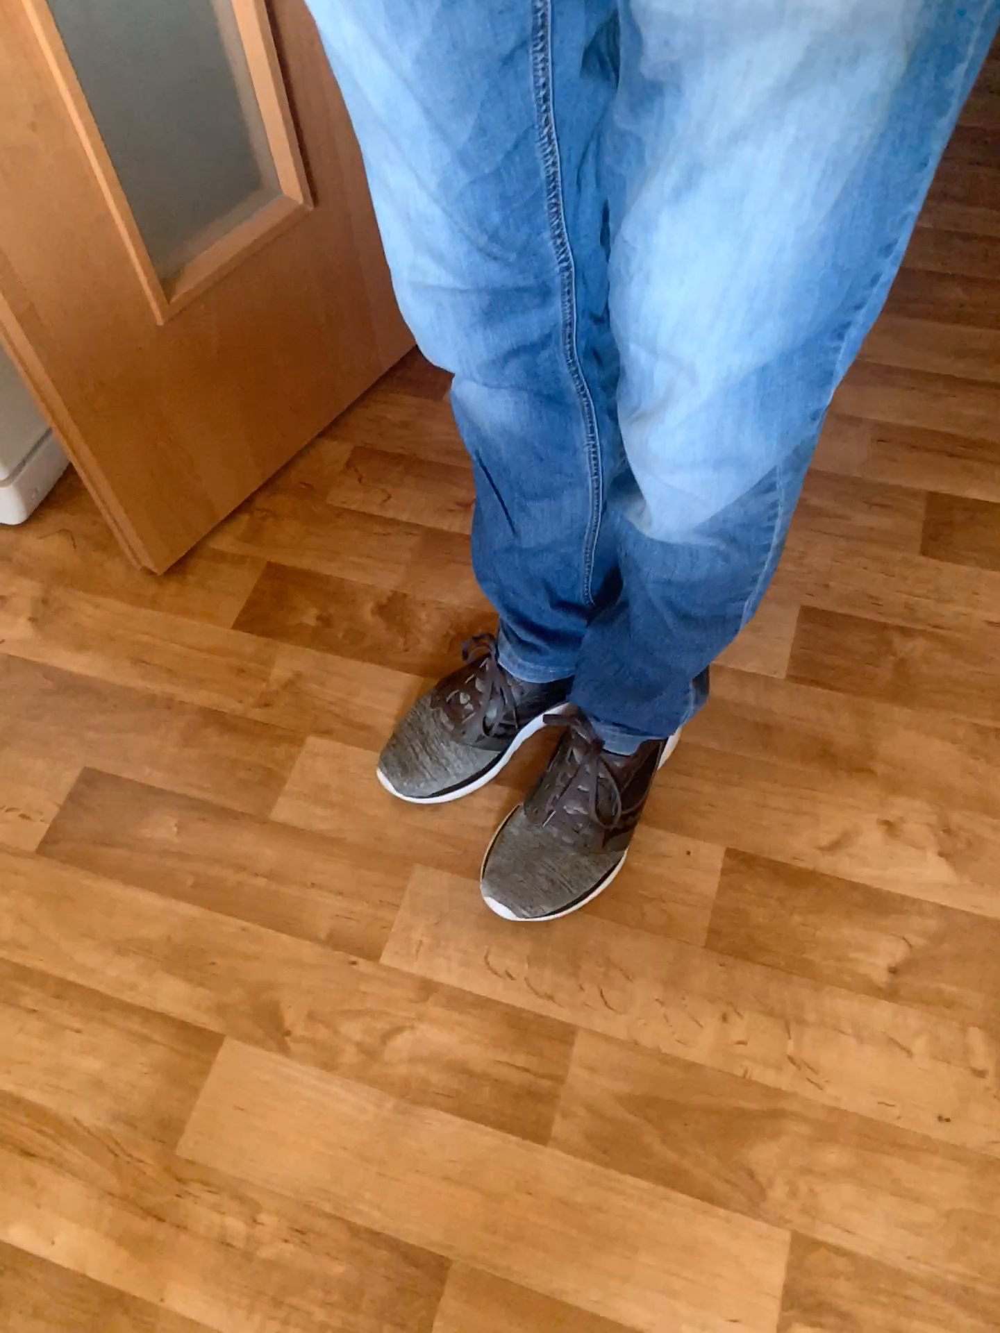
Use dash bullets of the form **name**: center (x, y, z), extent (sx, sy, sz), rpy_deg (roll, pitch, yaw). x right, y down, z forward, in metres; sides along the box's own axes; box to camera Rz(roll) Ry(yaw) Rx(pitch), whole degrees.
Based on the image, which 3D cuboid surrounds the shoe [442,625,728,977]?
- **shoe**: center (0.085, 0.120, 0.963), extent (0.134, 0.100, 0.290), rpy_deg (26, 63, 19)

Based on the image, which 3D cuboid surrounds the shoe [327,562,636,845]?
- **shoe**: center (-0.013, 0.034, 1.024), extent (0.280, 0.100, 0.124), rpy_deg (-34, 61, -17)
